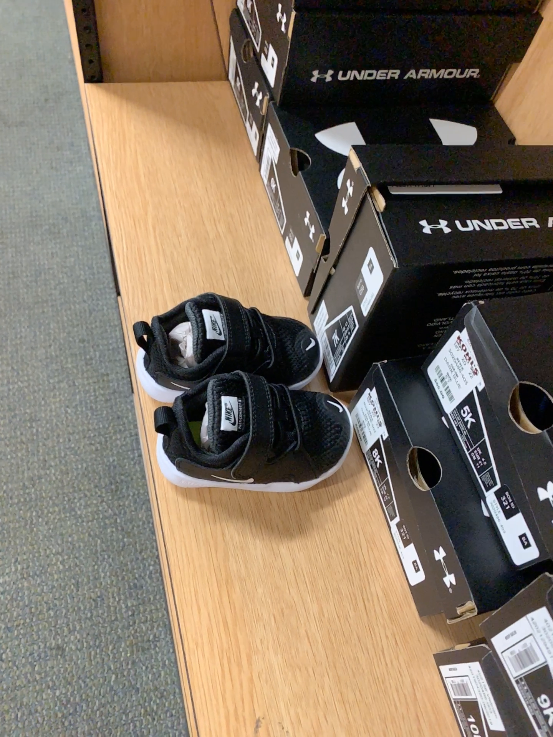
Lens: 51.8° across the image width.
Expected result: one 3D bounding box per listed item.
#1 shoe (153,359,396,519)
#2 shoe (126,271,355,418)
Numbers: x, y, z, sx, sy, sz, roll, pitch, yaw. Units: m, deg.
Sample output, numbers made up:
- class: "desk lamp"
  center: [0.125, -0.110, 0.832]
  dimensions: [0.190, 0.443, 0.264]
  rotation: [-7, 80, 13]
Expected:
- class: "shoe"
  center: [-0.006, 0.046, 0.376]
  dimensions: [0.140, 0.060, 0.070]
  rotation: [-6, 62, -13]
- class: "shoe"
  center: [-0.028, -0.018, 0.398]
  dimensions: [0.140, 0.060, 0.070]
  rotation: [-6, 62, -13]
